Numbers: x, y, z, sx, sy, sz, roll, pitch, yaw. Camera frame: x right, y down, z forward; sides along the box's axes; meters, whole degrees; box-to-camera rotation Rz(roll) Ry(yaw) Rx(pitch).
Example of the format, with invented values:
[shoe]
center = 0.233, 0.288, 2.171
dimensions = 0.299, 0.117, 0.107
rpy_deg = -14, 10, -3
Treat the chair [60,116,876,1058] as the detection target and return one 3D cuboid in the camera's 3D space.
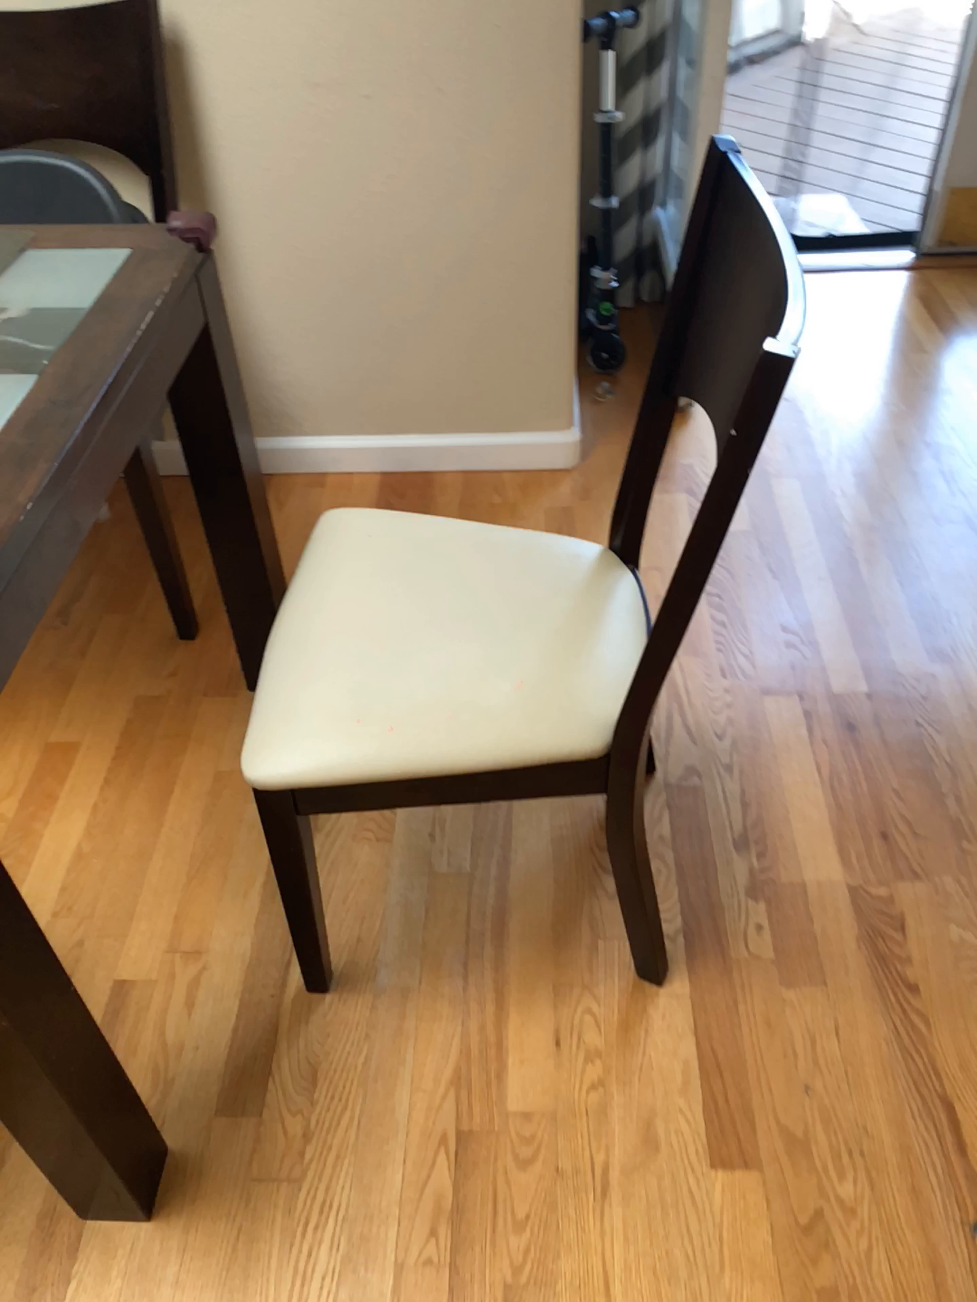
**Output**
[chair]
center = 0.018, -0.032, 1.304
dimensions = 0.590, 0.994, 0.563
rpy_deg = 2, 42, 5
